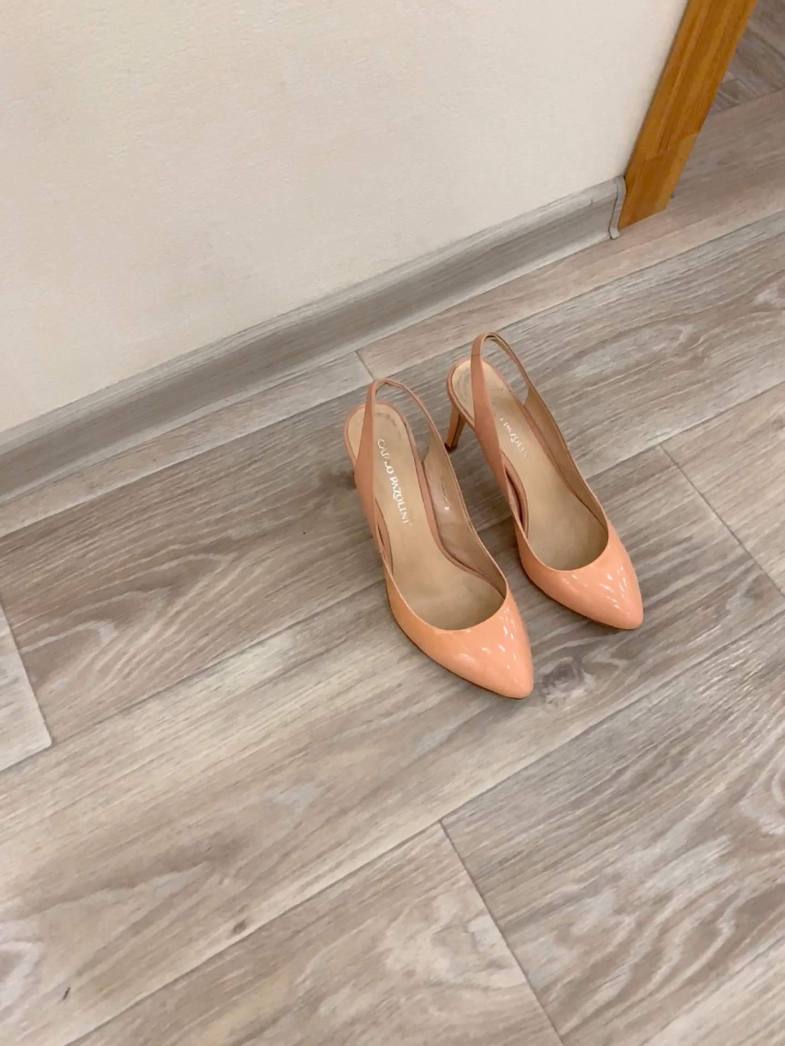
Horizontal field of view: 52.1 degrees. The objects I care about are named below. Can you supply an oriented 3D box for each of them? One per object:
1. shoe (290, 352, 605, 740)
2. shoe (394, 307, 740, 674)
[{"bbox_3d":[0.026,0.015,0.578,0.090,0.120,0.240,-27,67,-17],"label":"shoe"},{"bbox_3d":[0.114,-0.025,0.600,0.090,0.120,0.240,-33,69,-19],"label":"shoe"}]
